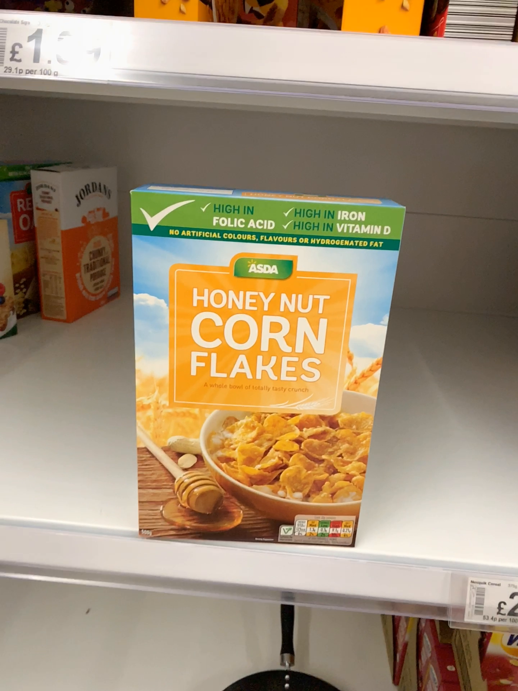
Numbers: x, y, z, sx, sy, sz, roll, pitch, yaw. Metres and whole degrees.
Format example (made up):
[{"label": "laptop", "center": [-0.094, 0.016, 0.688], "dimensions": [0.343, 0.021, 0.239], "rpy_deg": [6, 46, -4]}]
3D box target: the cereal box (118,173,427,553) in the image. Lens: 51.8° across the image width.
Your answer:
[{"label": "cereal box", "center": [0.000, 0.022, 0.429], "dimensions": [0.200, 0.288, 0.071], "rpy_deg": [4, 21, -1]}]
